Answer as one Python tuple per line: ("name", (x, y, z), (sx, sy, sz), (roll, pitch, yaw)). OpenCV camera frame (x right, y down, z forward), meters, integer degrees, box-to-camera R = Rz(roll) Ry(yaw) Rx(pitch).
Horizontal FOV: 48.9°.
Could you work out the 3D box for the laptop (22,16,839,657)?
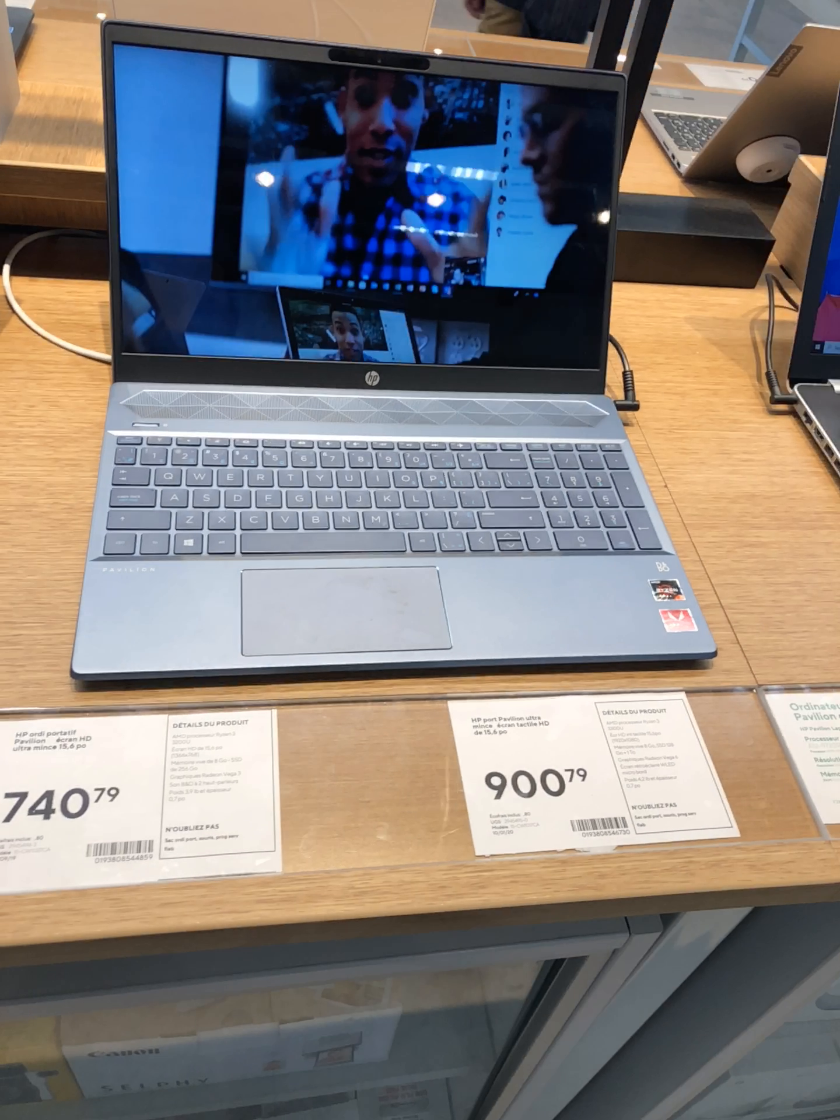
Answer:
("laptop", (-0.016, -0.145, 0.551), (0.338, 0.185, 0.357), (0, 46, -12))
